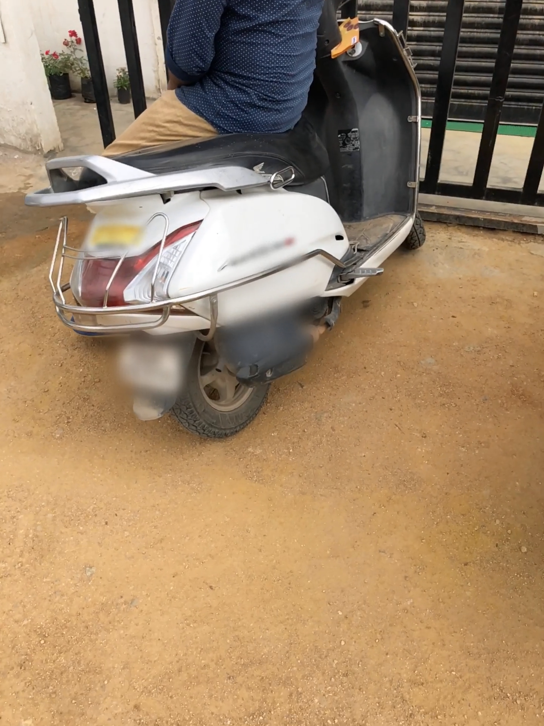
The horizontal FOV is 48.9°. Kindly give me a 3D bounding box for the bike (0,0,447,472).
[{"bbox_3d":[-0.008,-0.711,1.969,0.650,1.069,1.656,15,40,21],"label":"bike"}]
